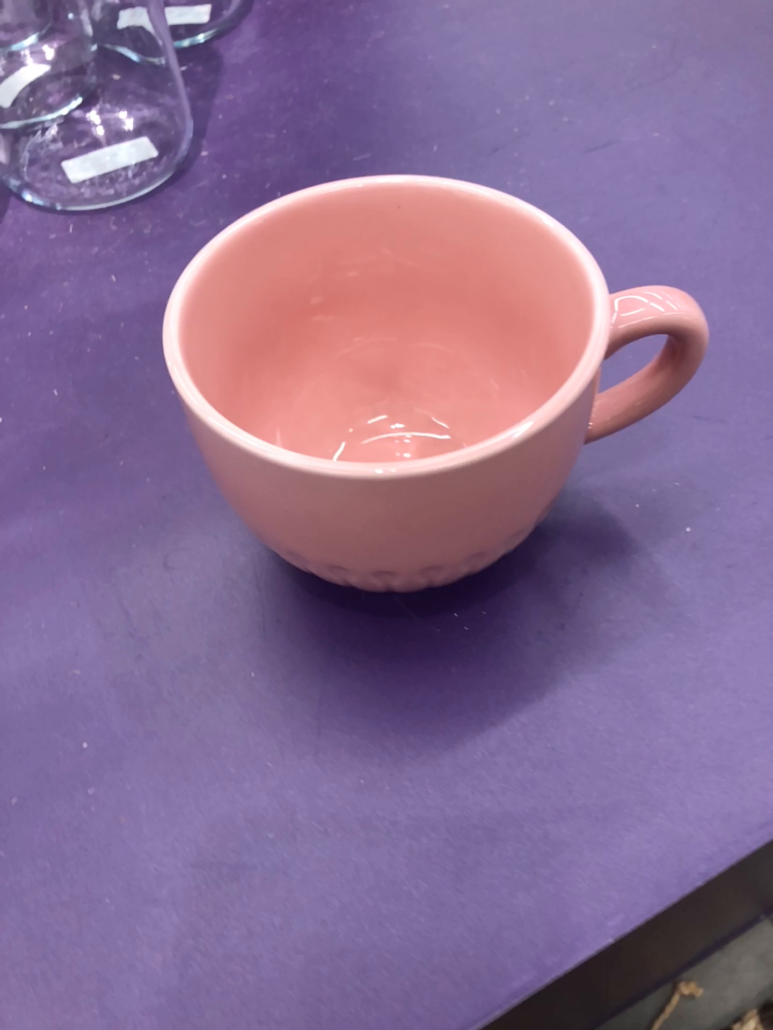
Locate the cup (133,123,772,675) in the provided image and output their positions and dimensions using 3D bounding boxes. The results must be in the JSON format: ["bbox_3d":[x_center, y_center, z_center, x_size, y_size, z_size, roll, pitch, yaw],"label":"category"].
[{"bbox_3d":[0.013,-0.034,0.225,0.140,0.060,0.111,-11,53,-3],"label":"cup"}]
